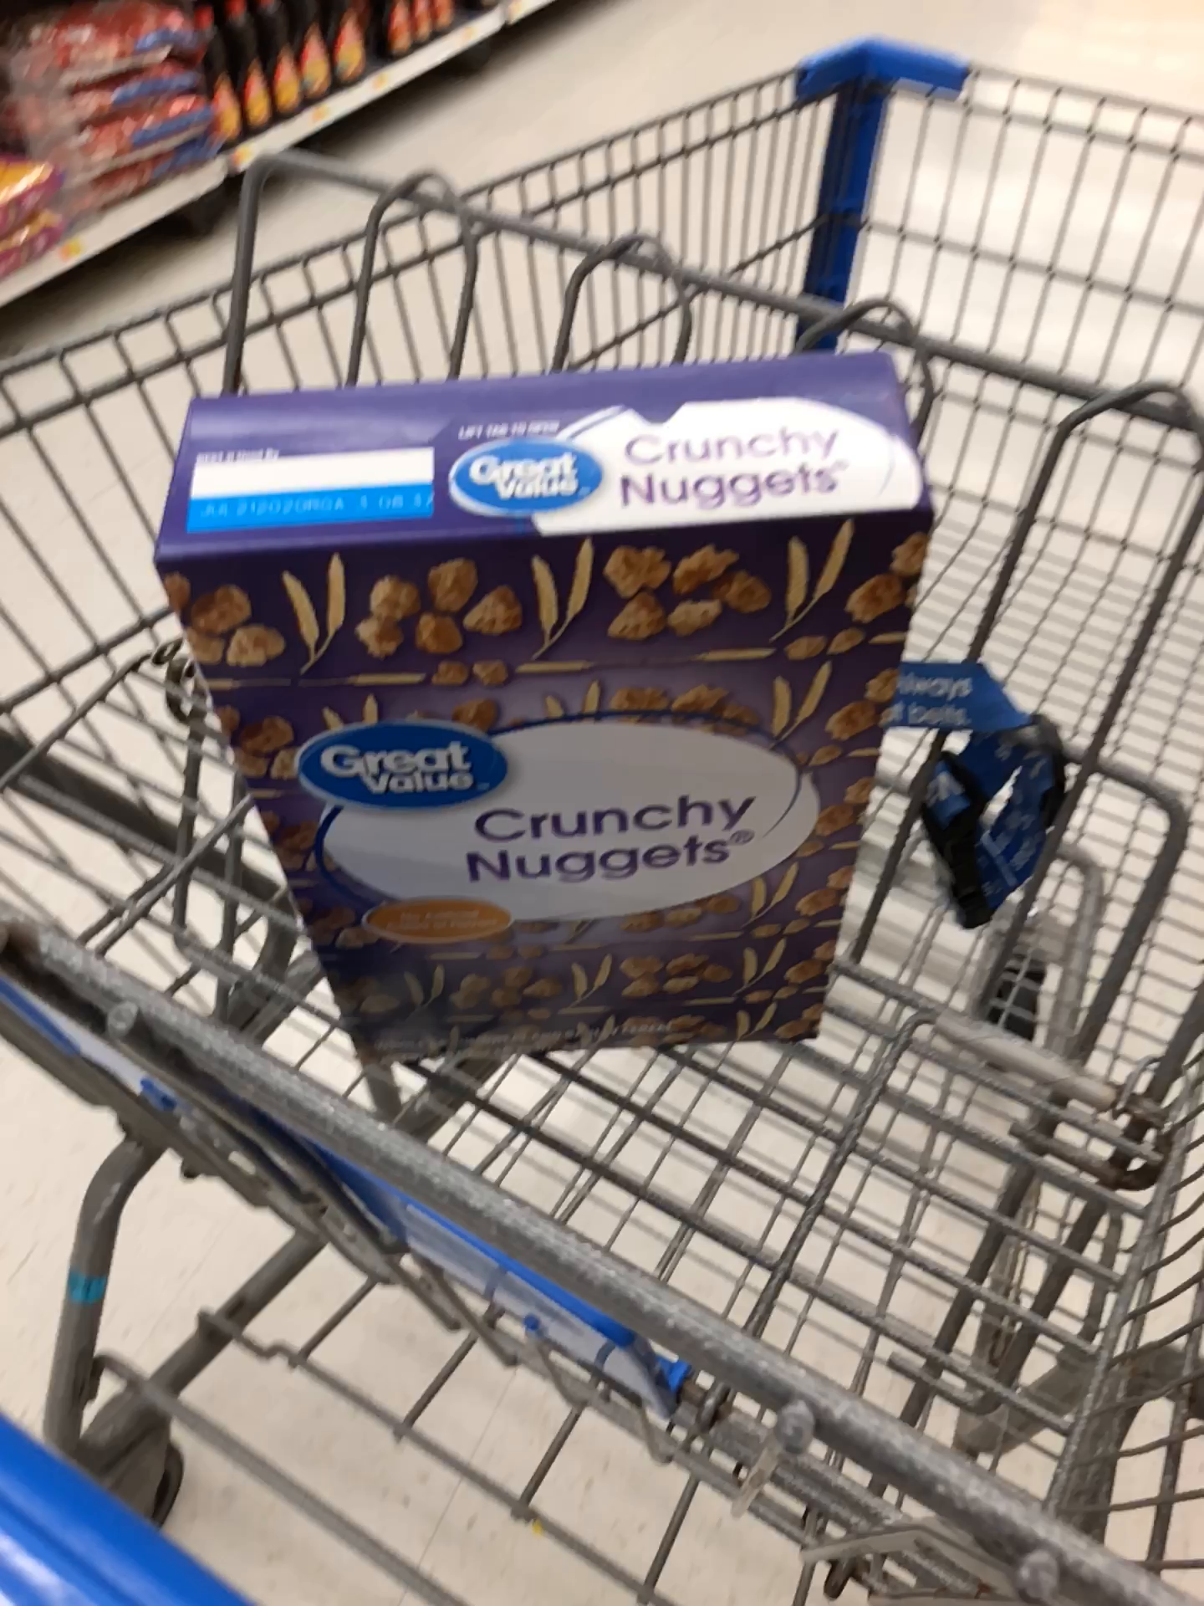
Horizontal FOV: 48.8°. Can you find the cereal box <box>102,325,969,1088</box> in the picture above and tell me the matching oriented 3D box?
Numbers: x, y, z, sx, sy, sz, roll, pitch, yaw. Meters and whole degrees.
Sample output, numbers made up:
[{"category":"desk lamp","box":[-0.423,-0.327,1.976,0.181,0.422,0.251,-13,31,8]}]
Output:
[{"category":"cereal box","box":[-0.015,-0.006,0.373,0.170,0.240,0.060,-4,53,-3]}]
